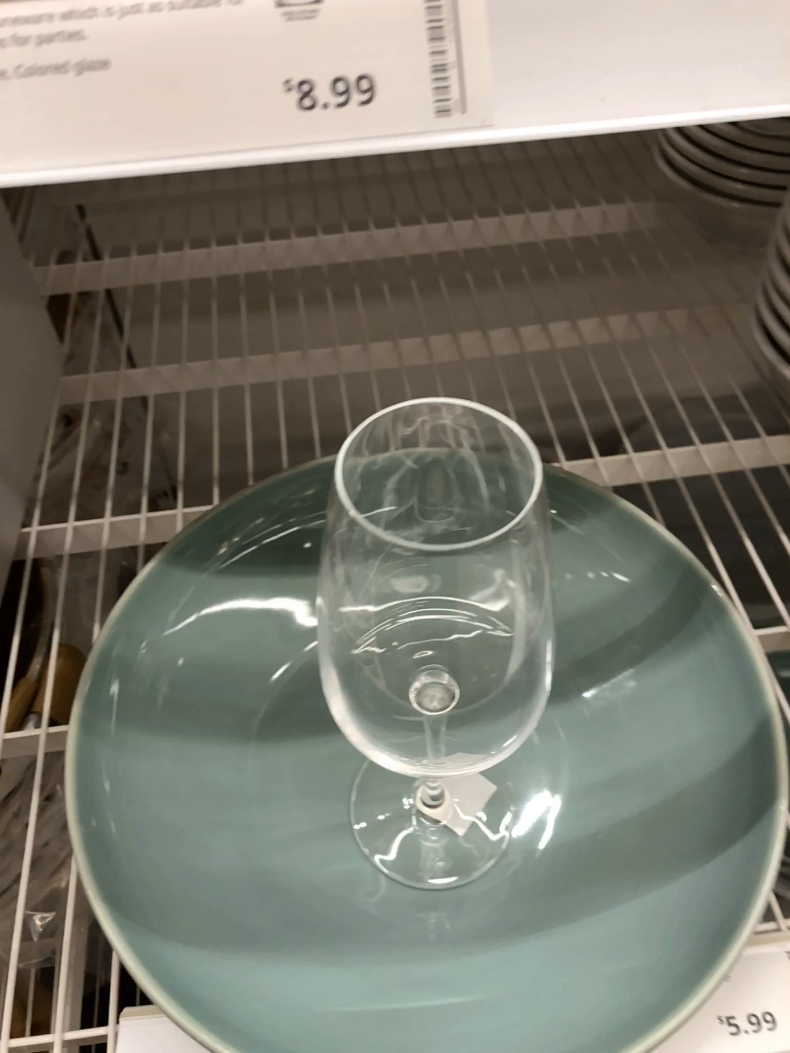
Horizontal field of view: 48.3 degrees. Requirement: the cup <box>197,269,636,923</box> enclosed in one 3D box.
[{"bbox_3d":[0.015,0.051,0.366,0.100,0.279,0.100,-1,49,2],"label":"cup"}]
